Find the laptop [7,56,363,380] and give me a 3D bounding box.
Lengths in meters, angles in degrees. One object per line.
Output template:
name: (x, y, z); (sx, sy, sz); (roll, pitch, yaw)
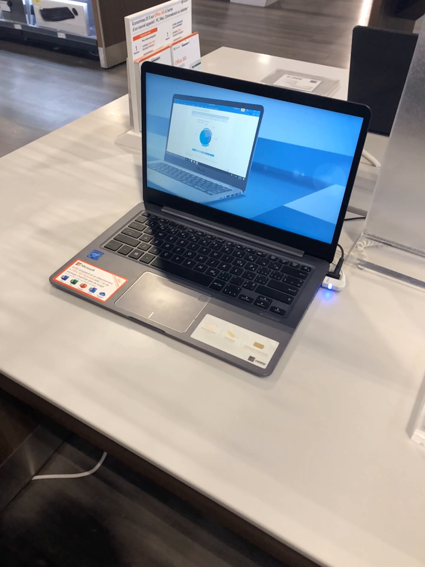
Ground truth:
laptop: (-0.020, -0.116, 0.619); (0.333, 0.180, 0.301); (20, 50, 18)
